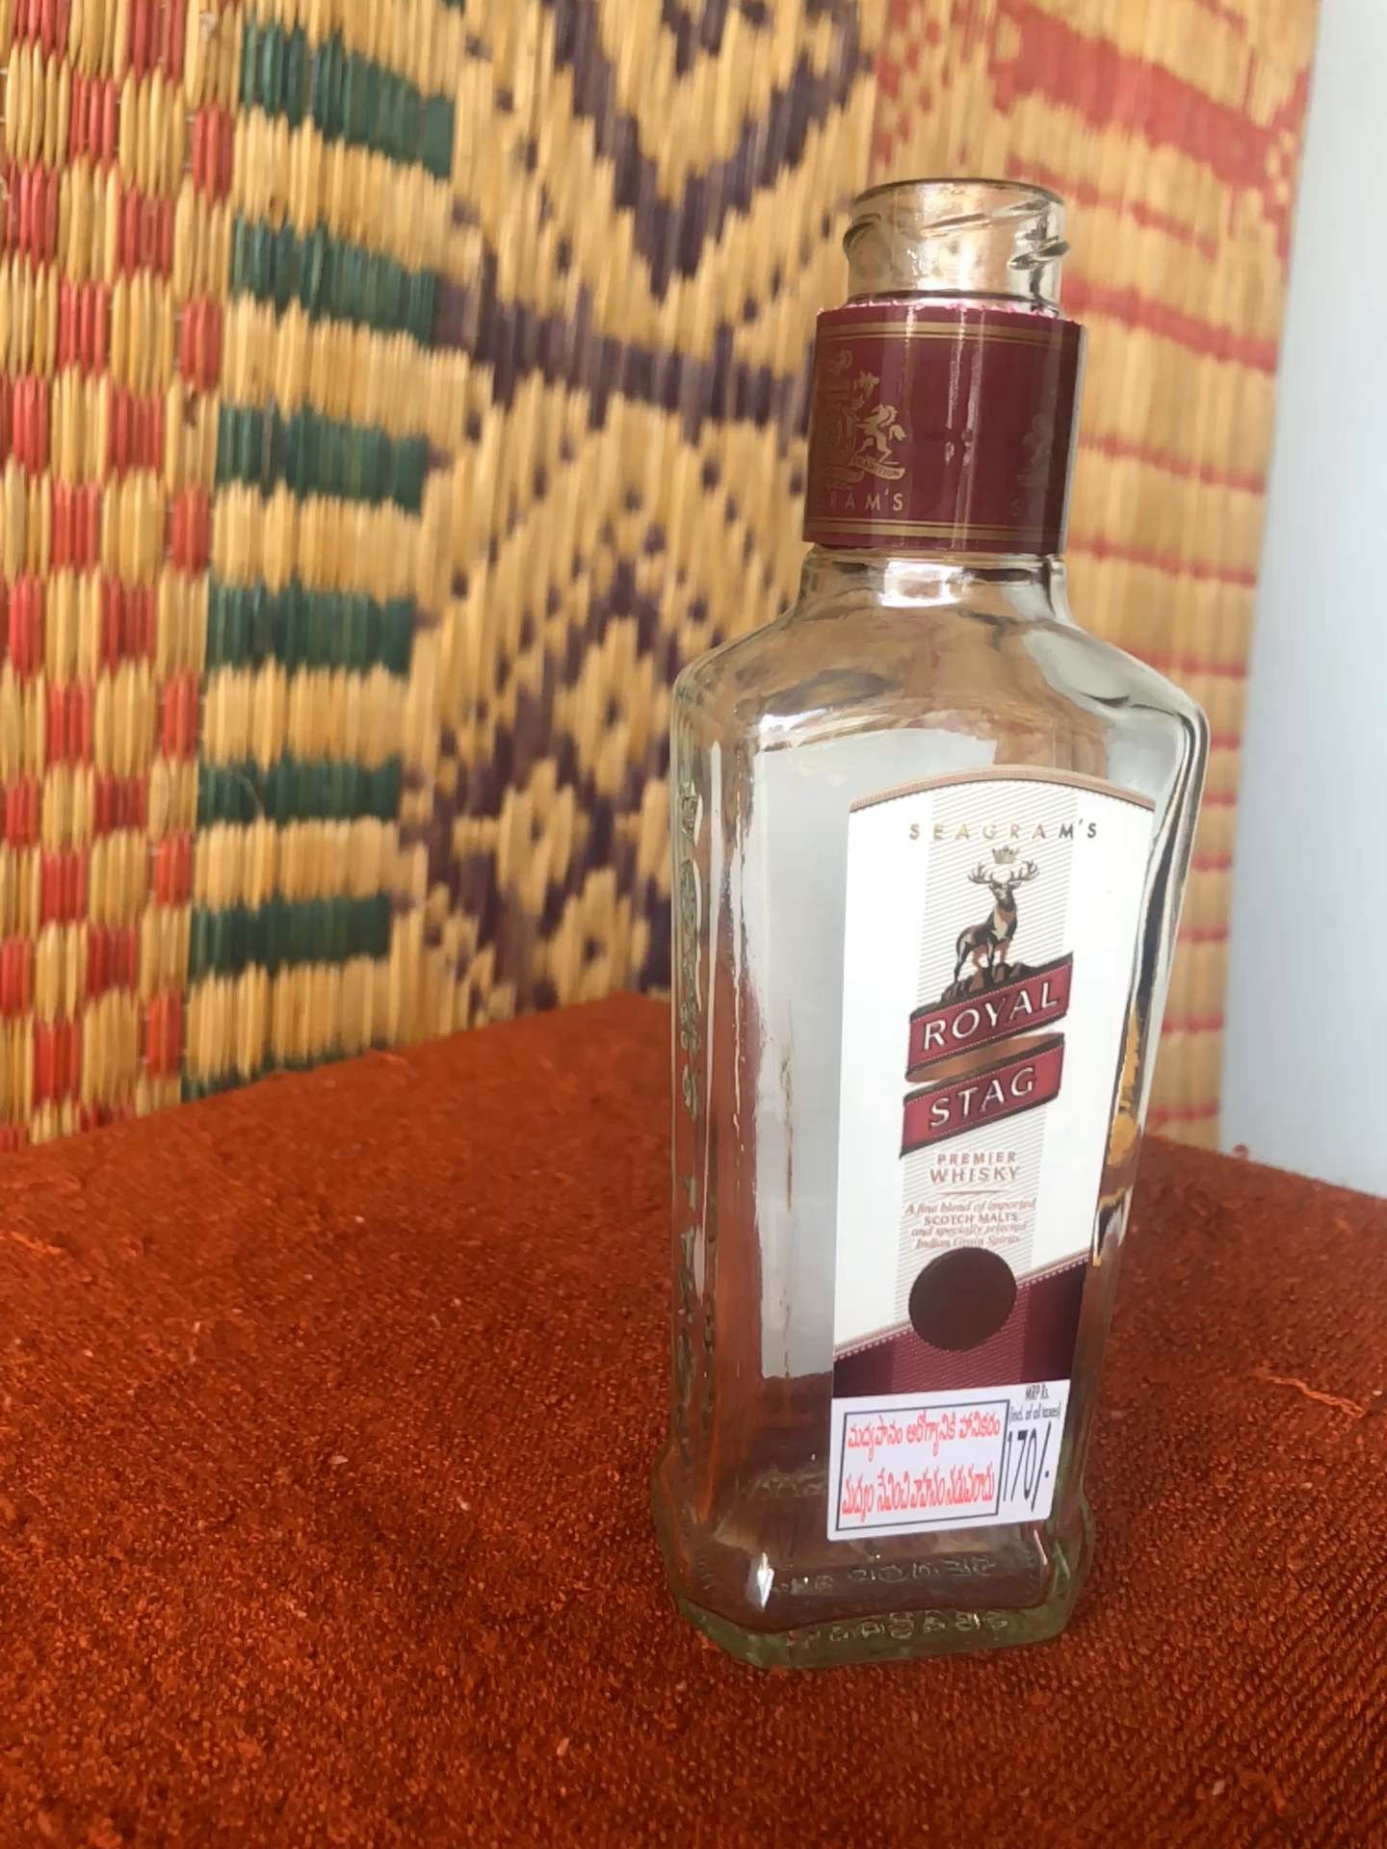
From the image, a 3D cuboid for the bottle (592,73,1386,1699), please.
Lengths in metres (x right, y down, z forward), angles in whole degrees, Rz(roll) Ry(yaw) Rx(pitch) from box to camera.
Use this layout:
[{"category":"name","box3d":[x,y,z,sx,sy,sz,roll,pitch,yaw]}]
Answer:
[{"category":"bottle","box3d":[0.029,0.000,0.182,0.060,0.159,0.060,6,16,-2]}]
